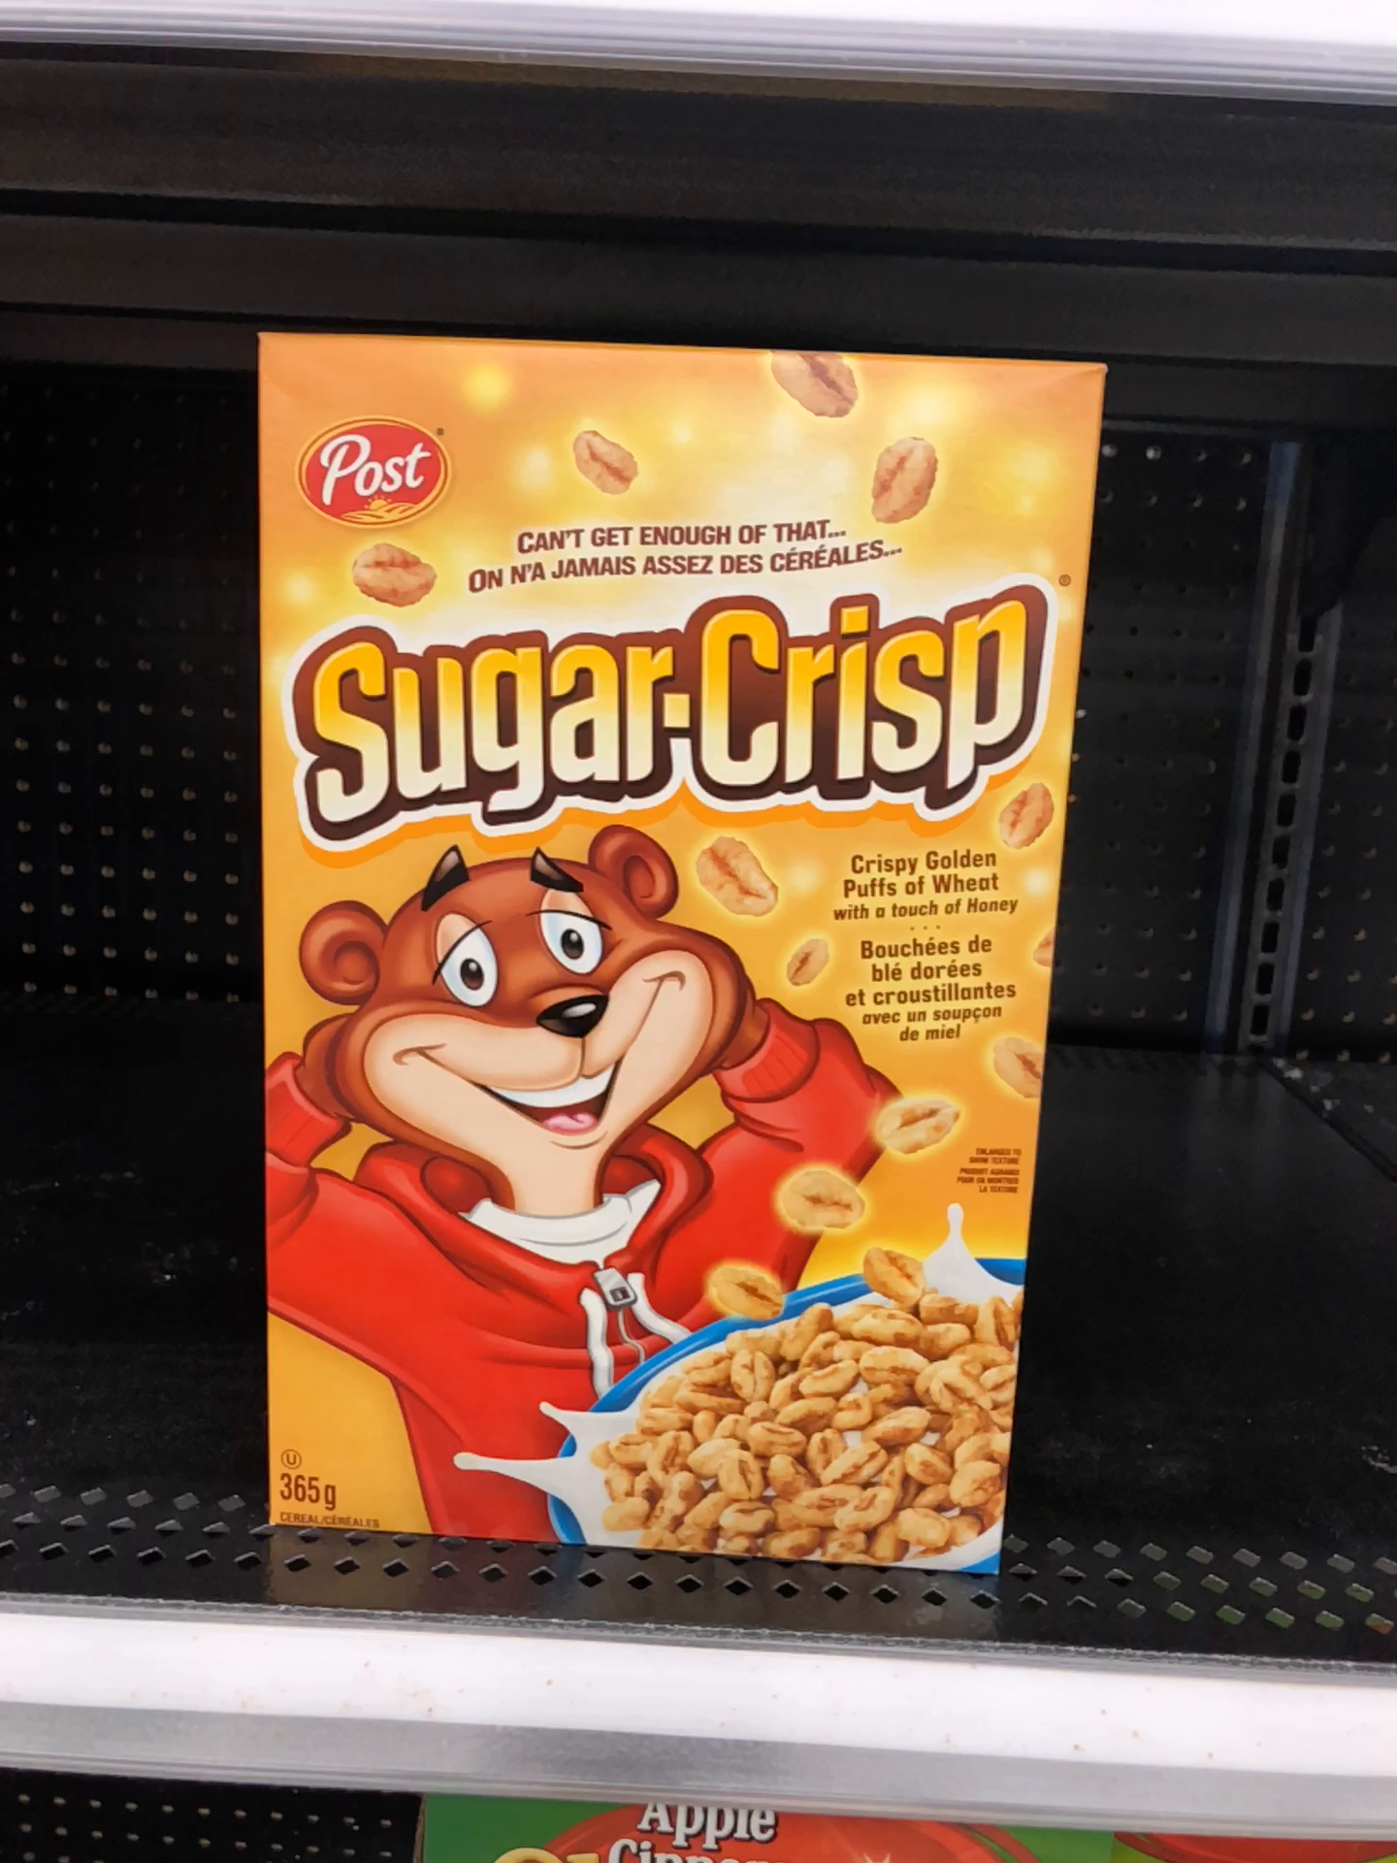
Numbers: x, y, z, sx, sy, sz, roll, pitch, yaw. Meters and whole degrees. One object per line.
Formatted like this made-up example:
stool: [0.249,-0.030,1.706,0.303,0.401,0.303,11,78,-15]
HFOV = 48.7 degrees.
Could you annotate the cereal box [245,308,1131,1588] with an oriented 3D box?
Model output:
cereal box: [-0.009,0.008,0.407,0.200,0.309,0.060,3,11,3]
